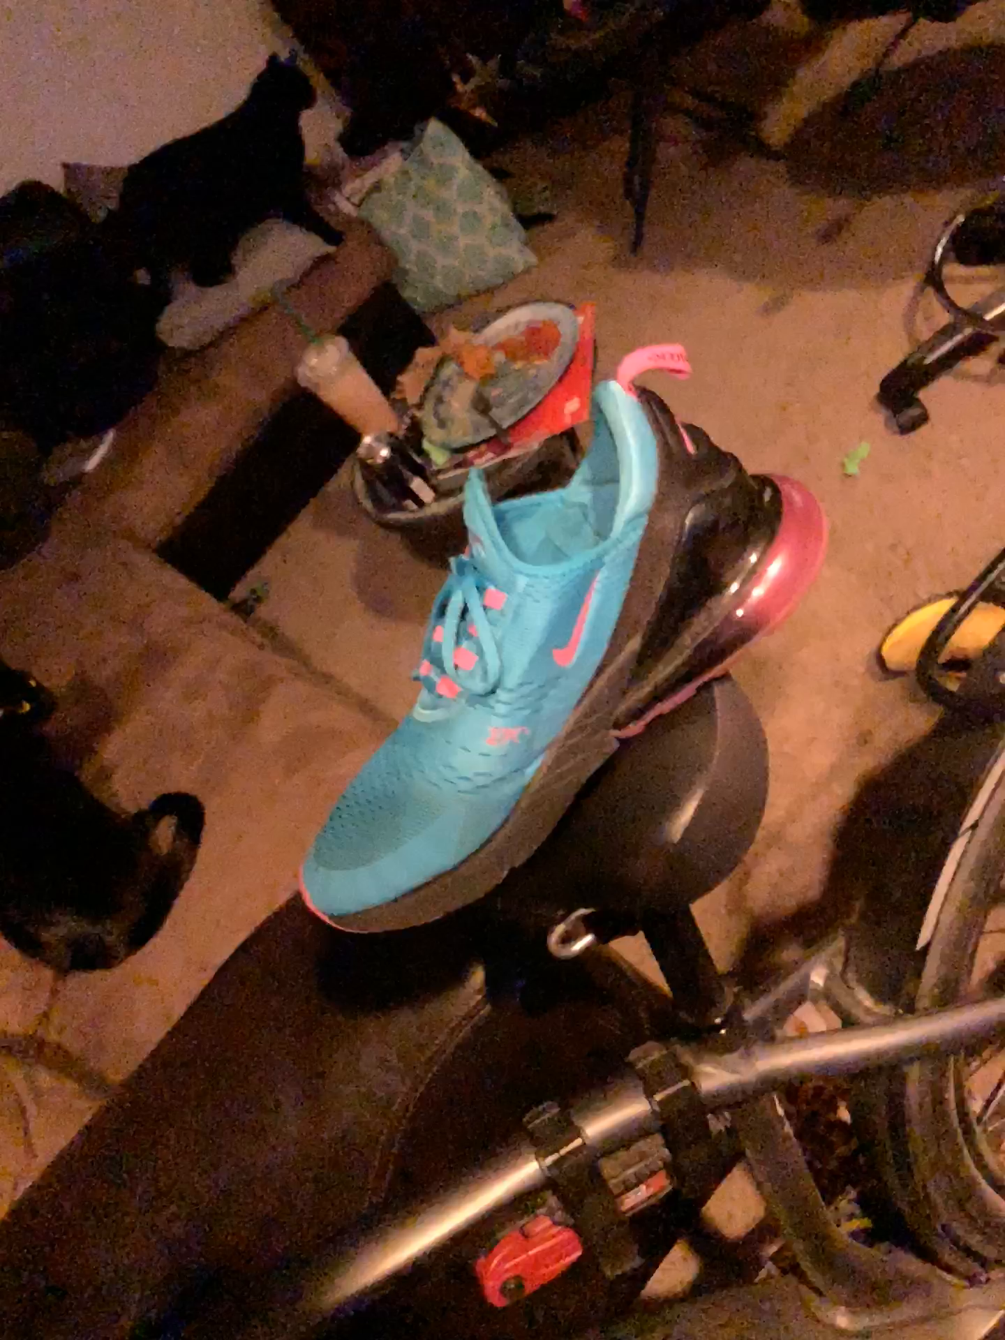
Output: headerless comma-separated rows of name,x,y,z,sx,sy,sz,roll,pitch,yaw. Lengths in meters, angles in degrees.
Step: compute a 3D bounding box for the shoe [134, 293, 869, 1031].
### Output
shoe,-0.004,-0.013,0.564,0.330,0.130,0.150,-46,38,-3
